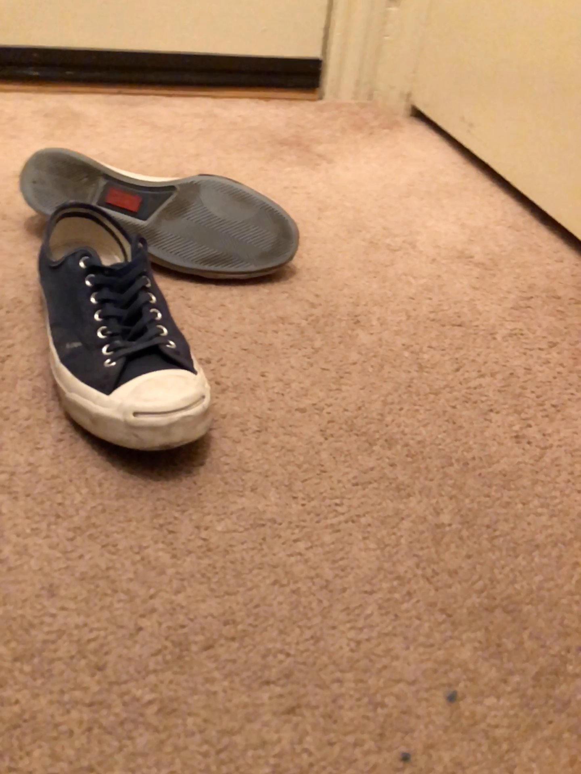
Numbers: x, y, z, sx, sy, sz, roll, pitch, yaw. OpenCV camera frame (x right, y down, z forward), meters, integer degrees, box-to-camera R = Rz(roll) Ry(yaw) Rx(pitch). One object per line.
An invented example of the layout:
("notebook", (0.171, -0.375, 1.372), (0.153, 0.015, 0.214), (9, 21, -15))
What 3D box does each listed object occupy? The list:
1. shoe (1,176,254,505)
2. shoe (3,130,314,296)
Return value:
("shoe", (-0.143, -0.060, 0.512), (0.116, 0.098, 0.287), (-13, 45, -24))
("shoe", (-0.133, -0.182, 0.676), (0.296, 0.104, 0.099), (12, 12, 3))
